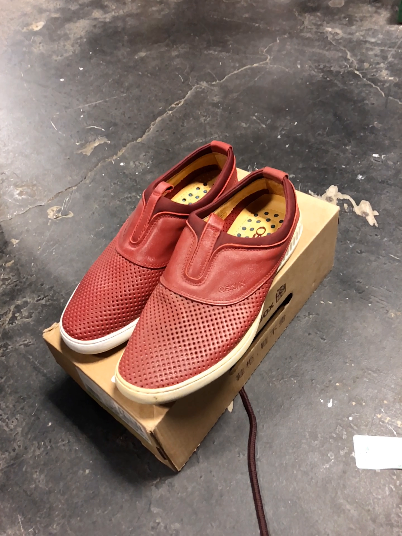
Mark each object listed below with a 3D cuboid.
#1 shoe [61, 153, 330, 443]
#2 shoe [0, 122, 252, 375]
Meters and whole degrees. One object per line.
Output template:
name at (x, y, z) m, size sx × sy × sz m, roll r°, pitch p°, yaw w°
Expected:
shoe at (0.011, 0.013, 0.412) m, size 0.100 × 0.089 × 0.251 m, roll 27°, pitch 60°, yaw 28°
shoe at (-0.060, -0.033, 0.455) m, size 0.100 × 0.089 × 0.251 m, roll 27°, pitch 60°, yaw 28°
